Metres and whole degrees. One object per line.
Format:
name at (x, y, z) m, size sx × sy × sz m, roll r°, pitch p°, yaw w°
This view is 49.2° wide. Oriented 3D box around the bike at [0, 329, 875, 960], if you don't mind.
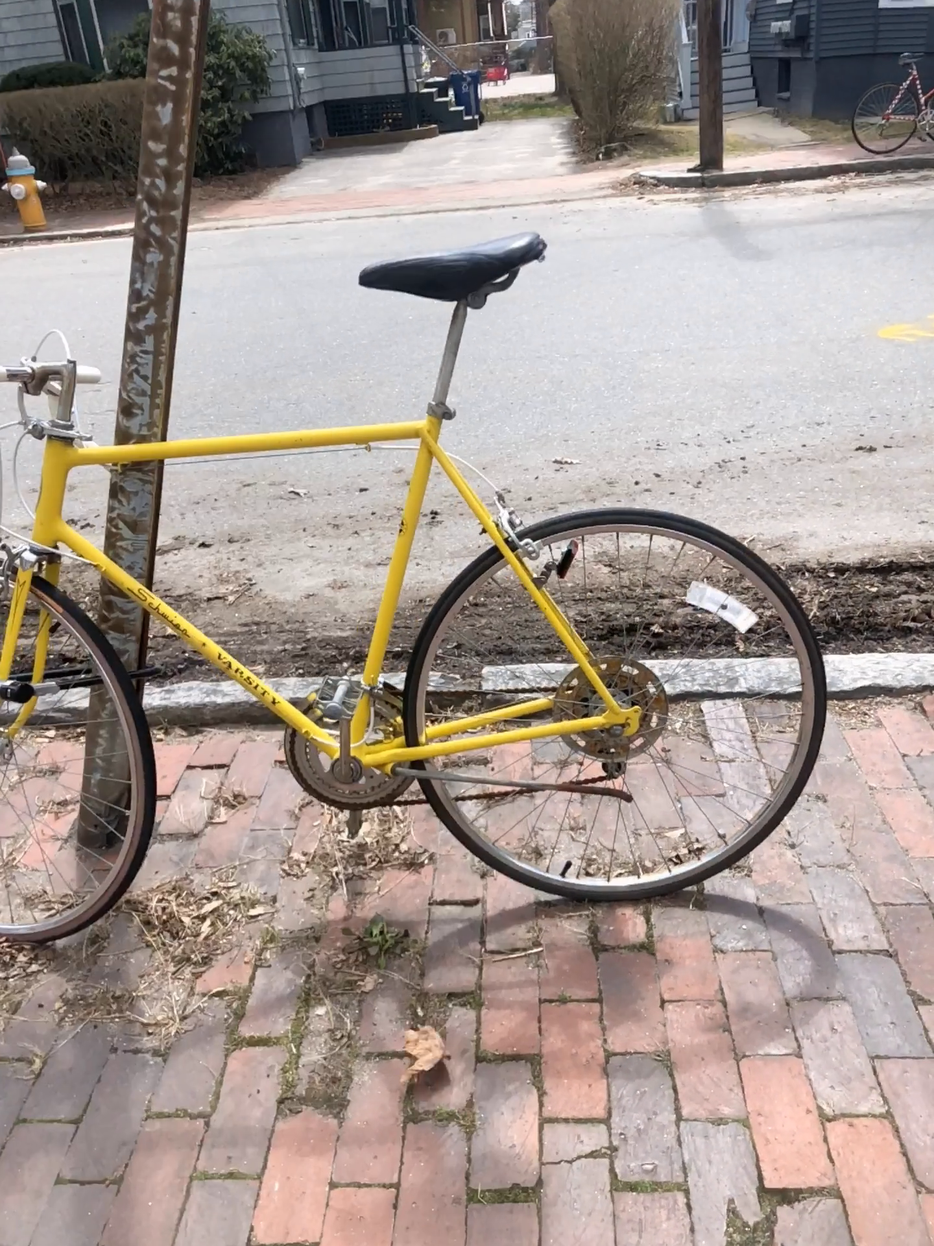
bike at (-0.278, 0.064, 1.826) m, size 1.685 × 0.804 × 0.542 m, roll -5°, pitch 28°, yaw 8°
